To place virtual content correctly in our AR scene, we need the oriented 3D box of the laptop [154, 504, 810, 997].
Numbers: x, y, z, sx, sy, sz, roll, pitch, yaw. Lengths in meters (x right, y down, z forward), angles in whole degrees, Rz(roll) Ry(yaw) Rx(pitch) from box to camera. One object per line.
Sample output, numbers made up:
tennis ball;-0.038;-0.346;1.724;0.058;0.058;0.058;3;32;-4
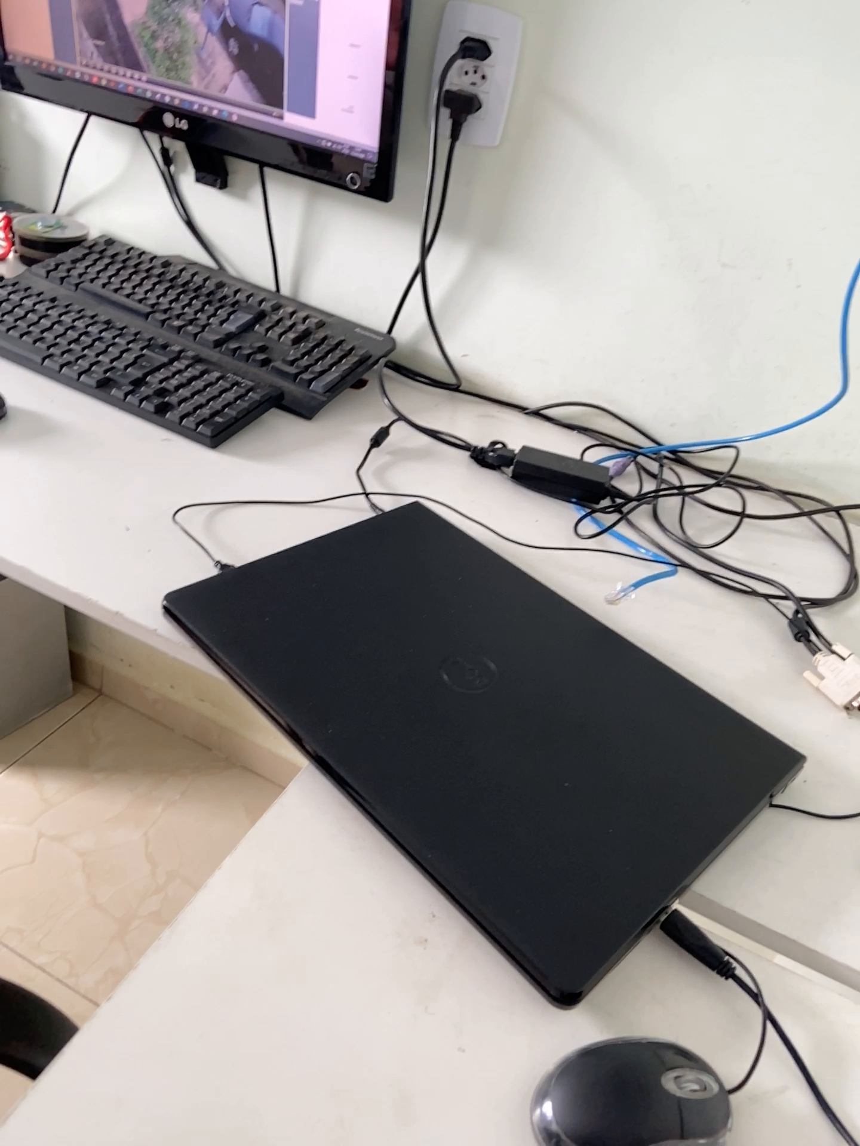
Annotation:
laptop;0.030;0.071;0.603;0.261;0.003;0.376;-23;47;-40
